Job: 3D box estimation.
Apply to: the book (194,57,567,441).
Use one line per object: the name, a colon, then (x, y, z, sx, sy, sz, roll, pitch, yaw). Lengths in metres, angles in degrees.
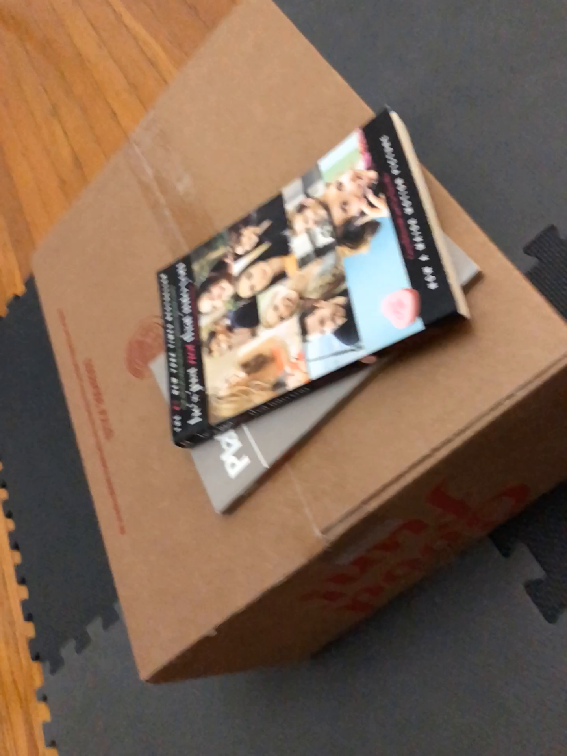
book: (0.039, -0.069, 0.382, 0.230, 0.010, 0.150, -25, 61, 30)
